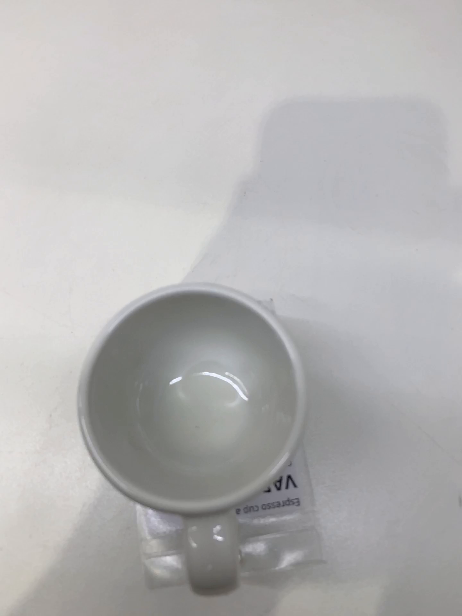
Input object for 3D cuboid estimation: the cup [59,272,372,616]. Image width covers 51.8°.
[{"bbox_3d":[-0.008,0.039,0.139,0.070,0.040,0.080,-8,69,-1],"label":"cup"}]
